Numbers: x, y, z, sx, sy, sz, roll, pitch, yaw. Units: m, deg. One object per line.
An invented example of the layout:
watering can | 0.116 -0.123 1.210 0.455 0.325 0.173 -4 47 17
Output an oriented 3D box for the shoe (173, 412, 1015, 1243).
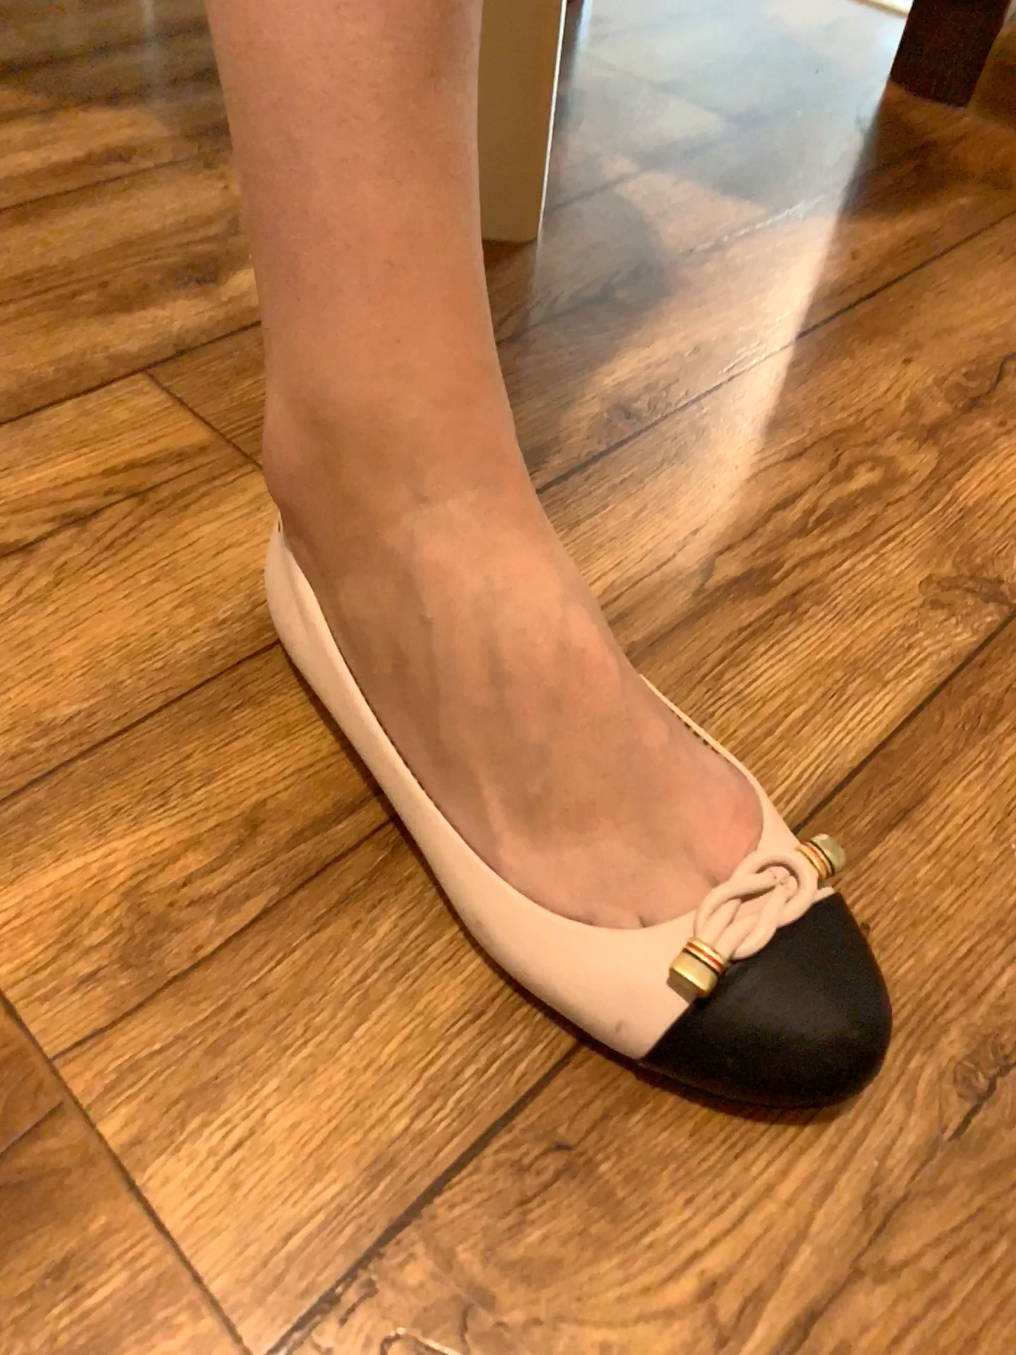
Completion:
shoe | 0.009 0.021 0.280 0.084 0.059 0.221 -32 59 -28
